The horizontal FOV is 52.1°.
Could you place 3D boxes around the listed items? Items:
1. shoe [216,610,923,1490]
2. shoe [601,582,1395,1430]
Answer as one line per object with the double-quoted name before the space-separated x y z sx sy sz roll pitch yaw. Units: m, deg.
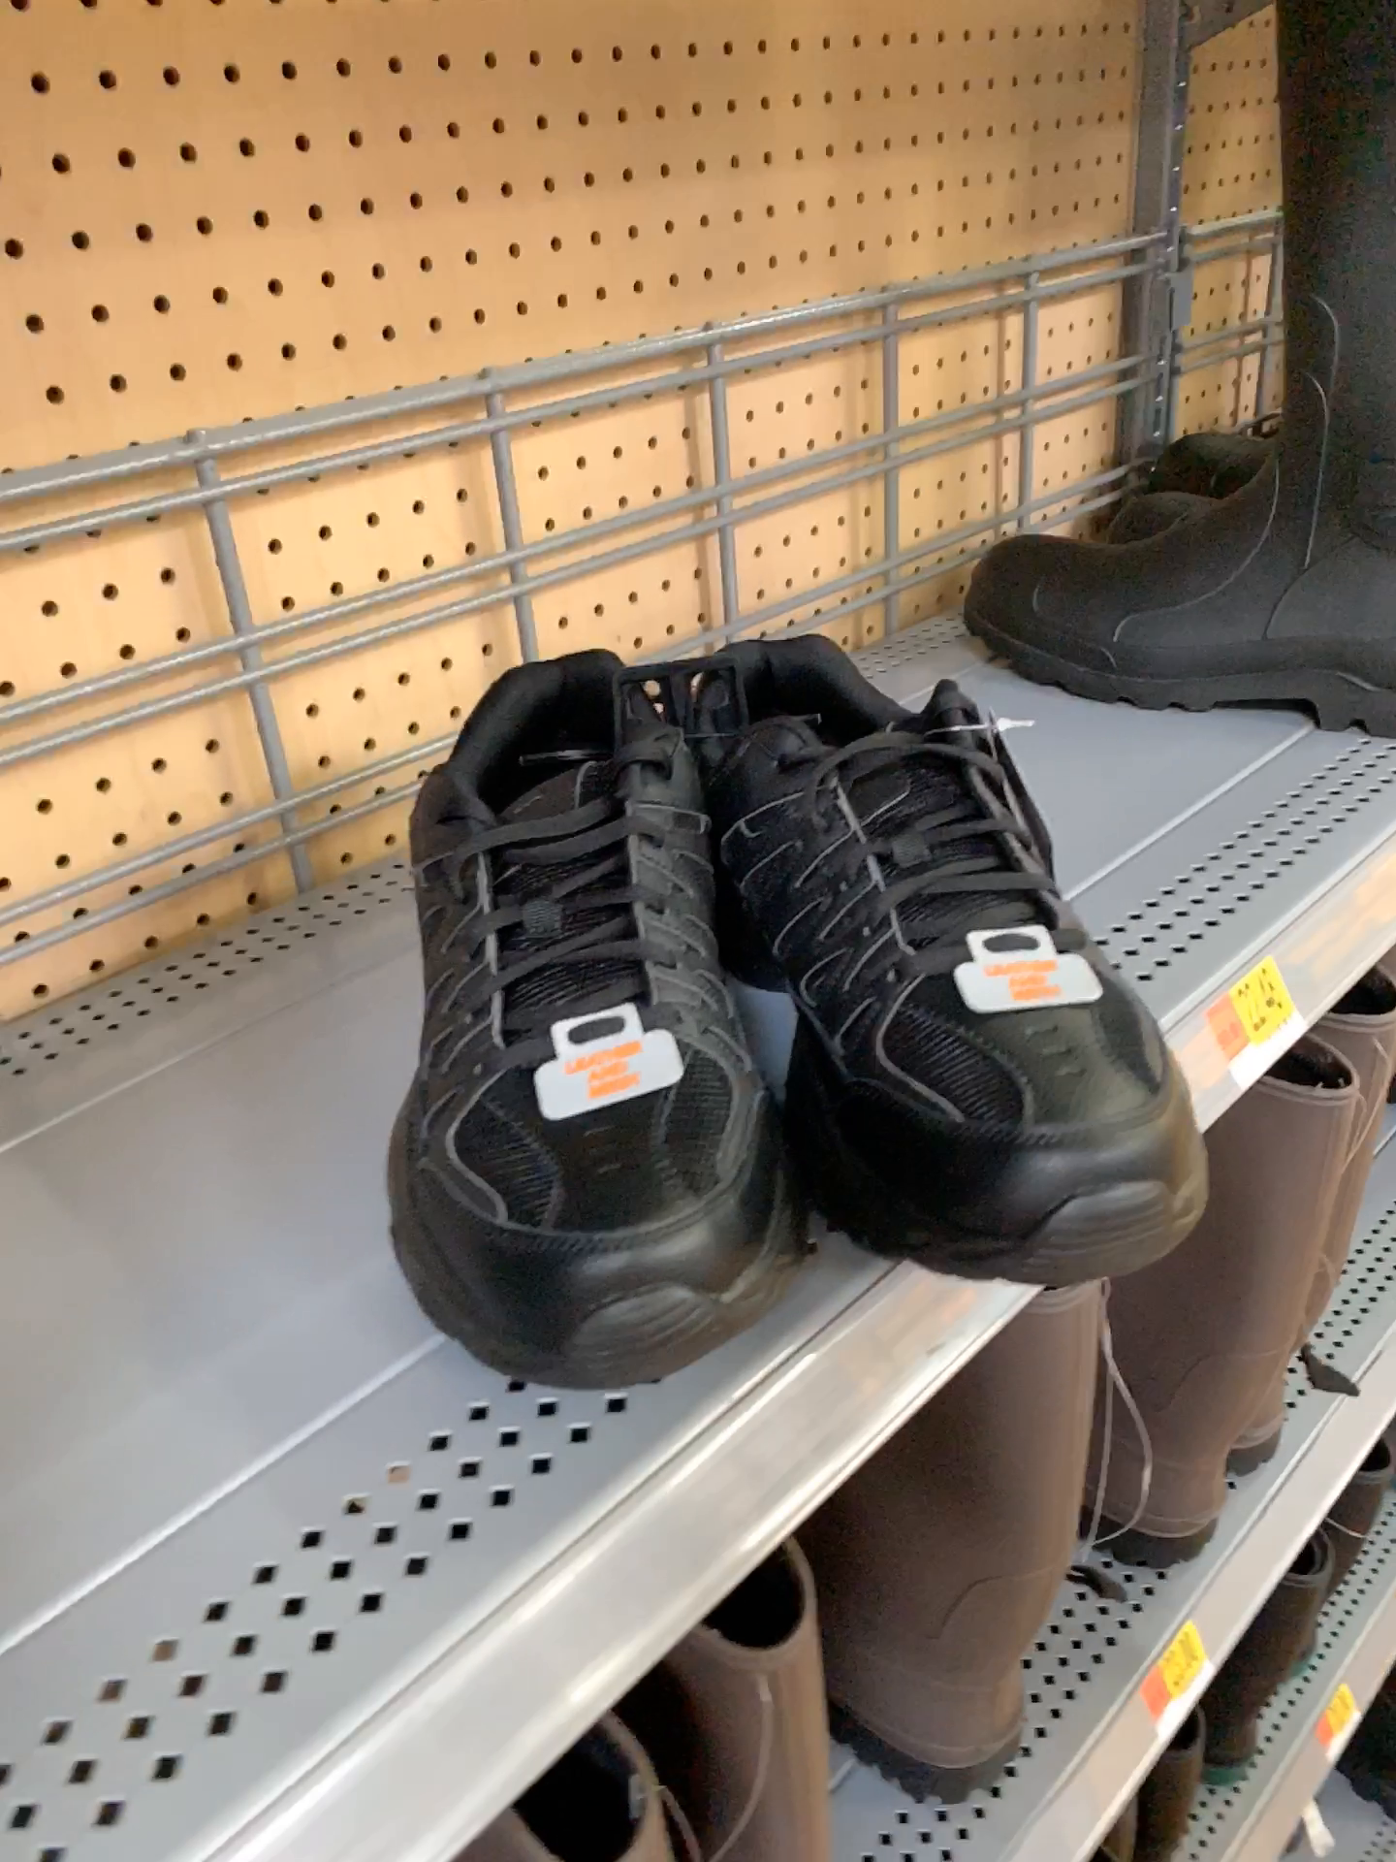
"shoe" -0.039 0.002 0.435 0.139 0.104 0.298 -8 29 -4
"shoe" 0.073 -0.011 0.443 0.135 0.104 0.298 -12 29 -11
